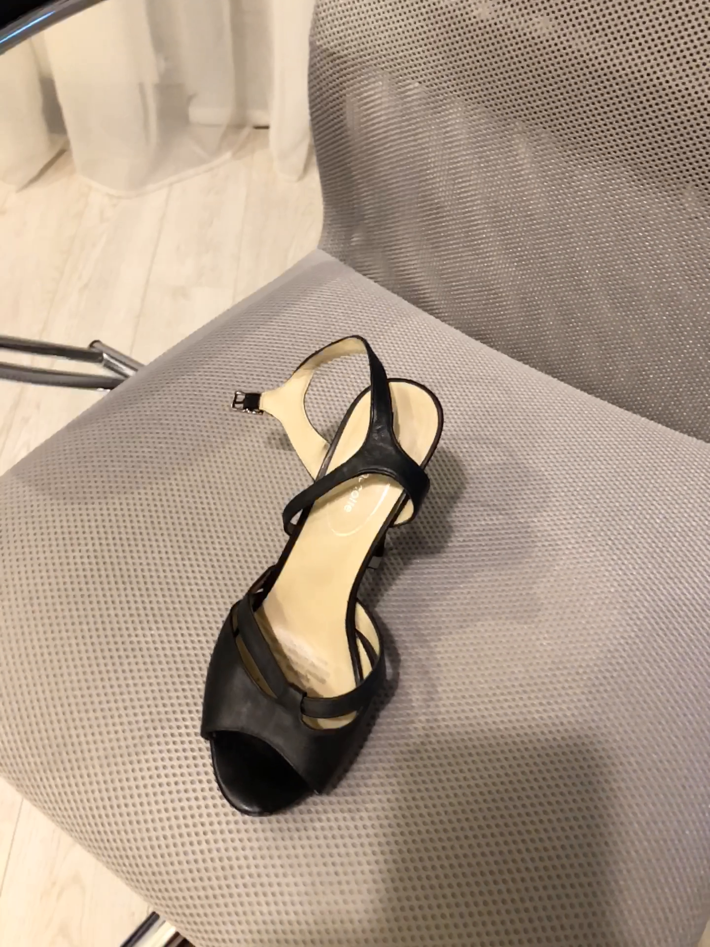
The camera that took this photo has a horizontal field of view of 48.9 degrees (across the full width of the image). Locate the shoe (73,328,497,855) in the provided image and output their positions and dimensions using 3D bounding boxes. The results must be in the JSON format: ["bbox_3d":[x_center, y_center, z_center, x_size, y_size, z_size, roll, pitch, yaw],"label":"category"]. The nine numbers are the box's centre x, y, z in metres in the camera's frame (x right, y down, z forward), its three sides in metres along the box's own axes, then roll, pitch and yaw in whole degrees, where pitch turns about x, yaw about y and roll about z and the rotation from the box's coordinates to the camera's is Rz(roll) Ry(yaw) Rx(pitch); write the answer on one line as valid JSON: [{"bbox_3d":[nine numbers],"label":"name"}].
[{"bbox_3d":[-0.019,0.051,0.387,0.090,0.119,0.211,23,56,15],"label":"shoe"}]
